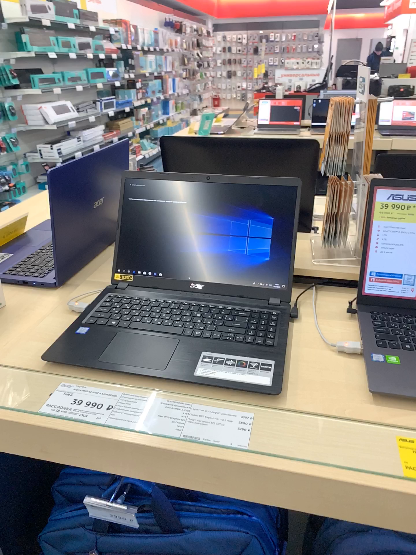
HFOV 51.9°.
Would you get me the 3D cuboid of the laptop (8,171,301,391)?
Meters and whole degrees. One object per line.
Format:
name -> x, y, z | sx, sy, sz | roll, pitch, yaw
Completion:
laptop -> -0.043, -0.032, 0.759 | 0.376, 0.216, 0.377 | 5, 27, 11
